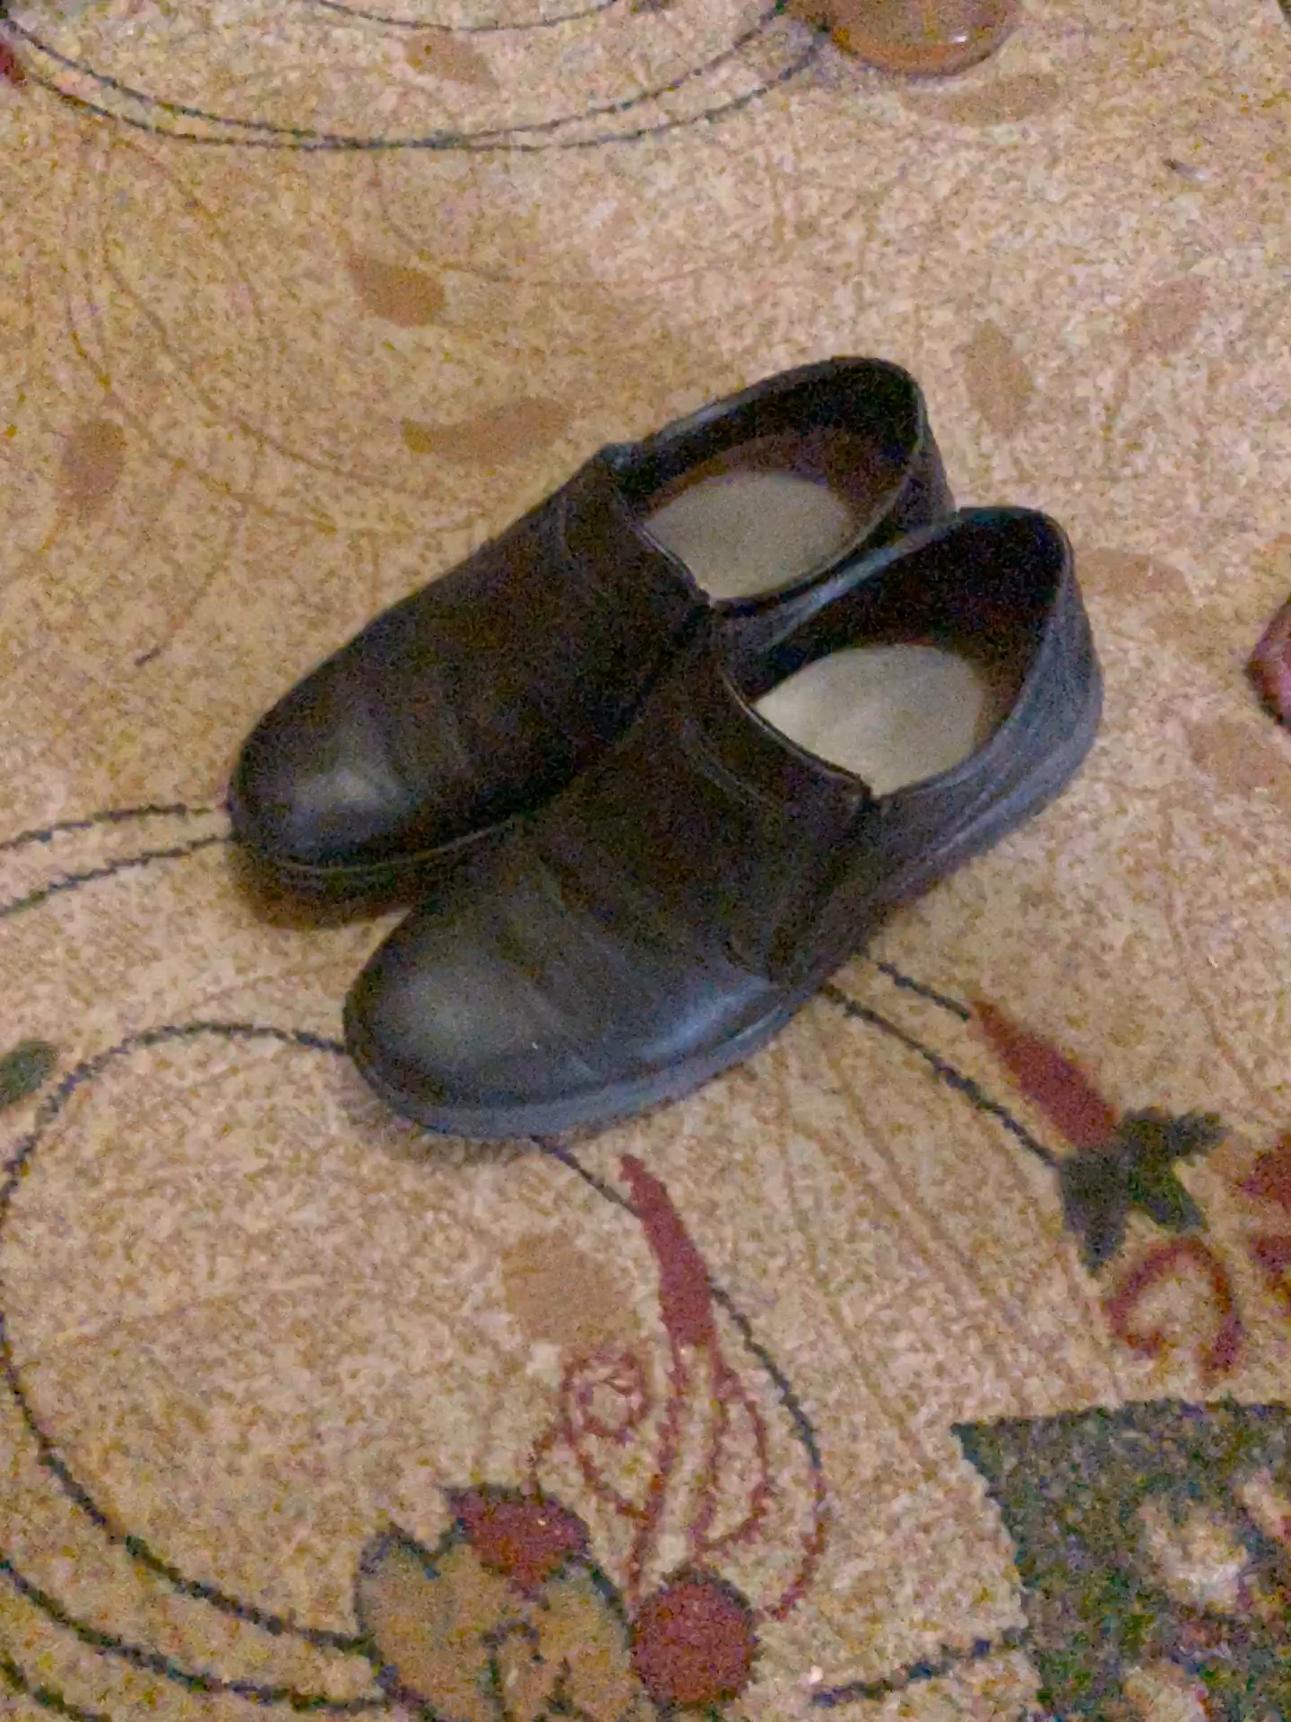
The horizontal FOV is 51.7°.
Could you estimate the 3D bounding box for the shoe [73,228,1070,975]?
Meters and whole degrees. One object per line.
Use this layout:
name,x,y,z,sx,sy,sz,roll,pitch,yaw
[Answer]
shoe,-0.019,-0.085,0.450,0.290,0.100,0.100,-26,67,-7

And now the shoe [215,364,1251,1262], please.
shoe,0.032,-0.015,0.416,0.290,0.100,0.100,-37,68,-11
